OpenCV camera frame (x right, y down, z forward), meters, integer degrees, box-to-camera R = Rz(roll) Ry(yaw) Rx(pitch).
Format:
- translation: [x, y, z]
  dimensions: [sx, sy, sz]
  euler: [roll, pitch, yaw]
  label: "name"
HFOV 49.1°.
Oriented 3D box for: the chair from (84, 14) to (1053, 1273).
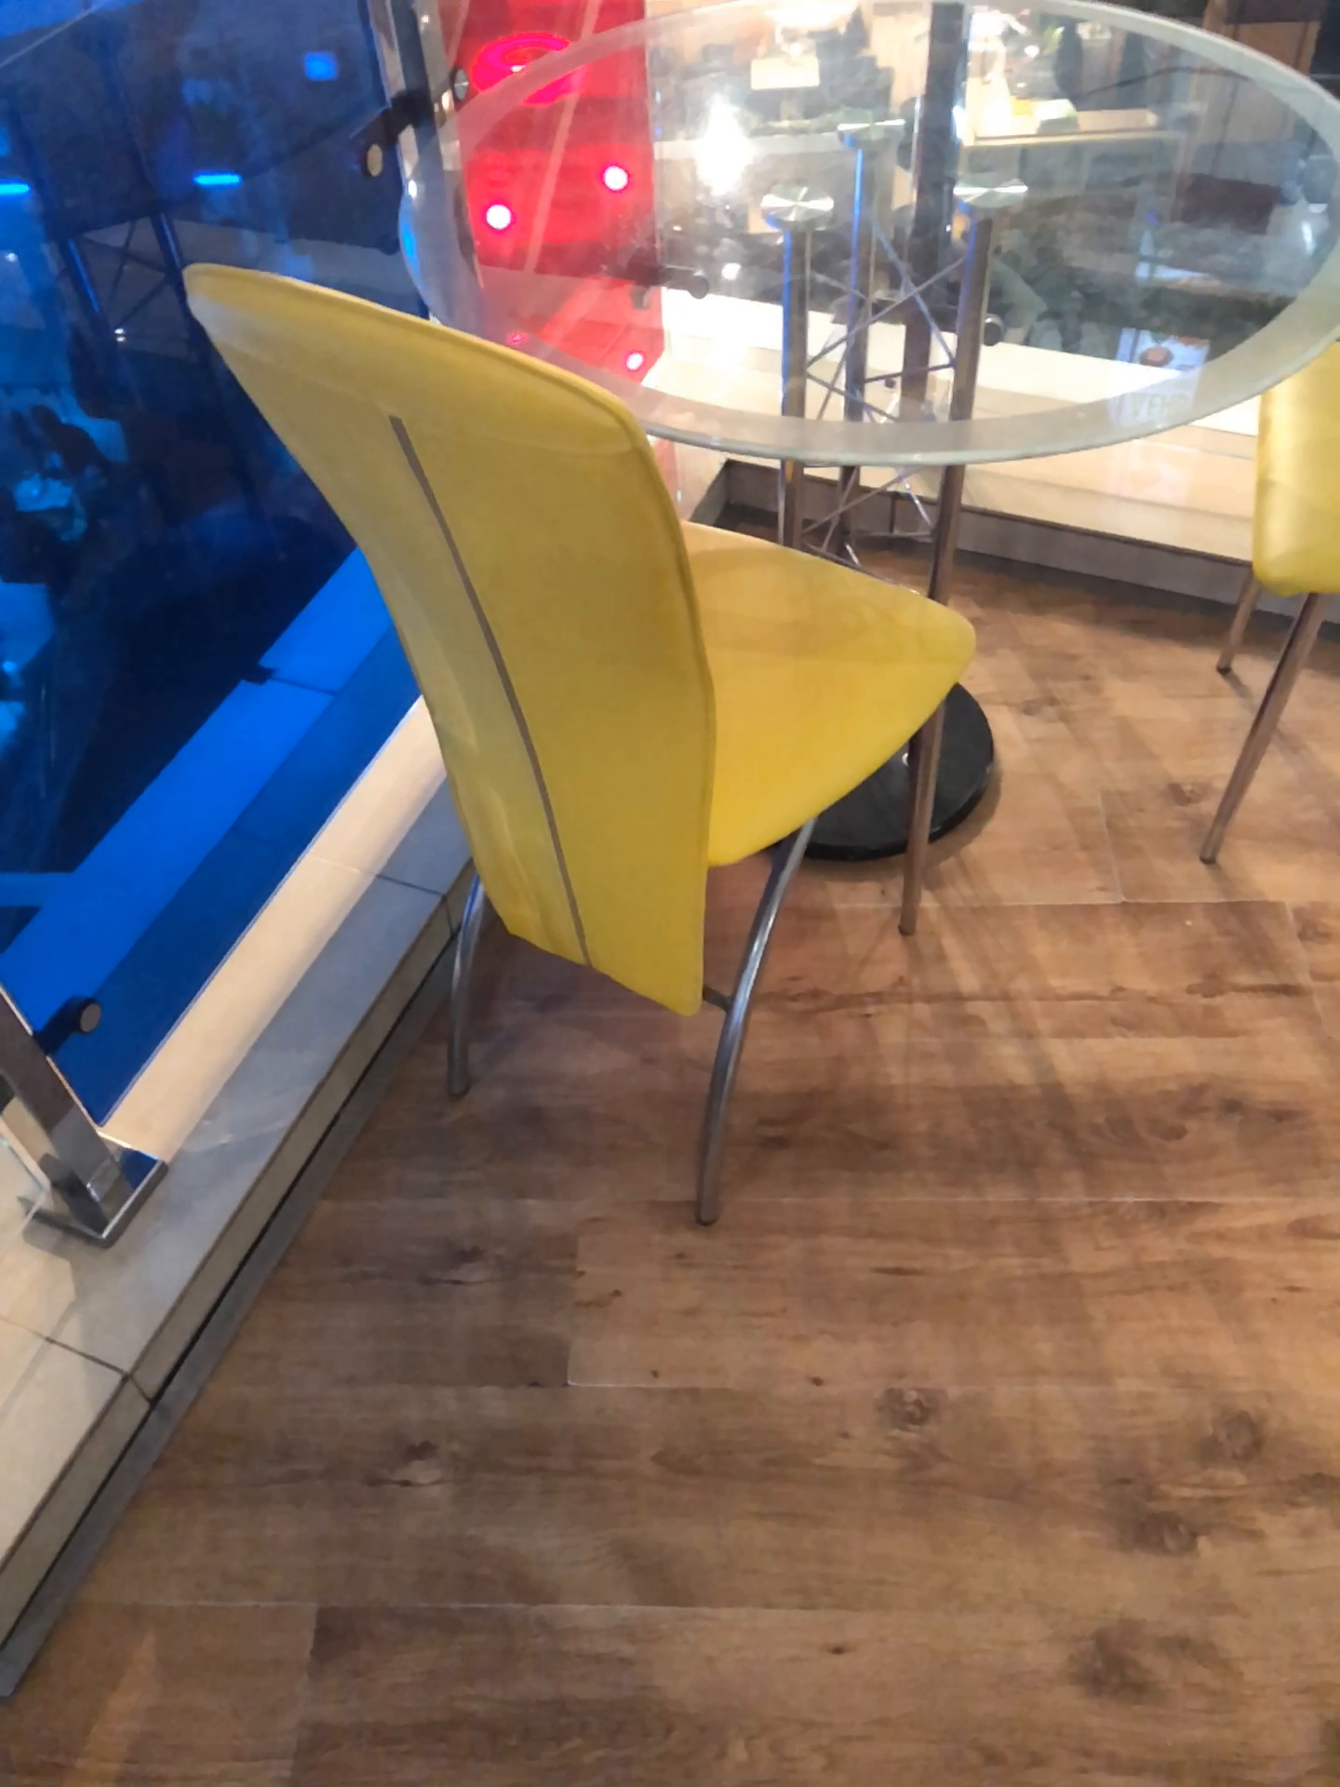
- translation: [-0.025, -0.163, 1.294]
  dimensions: [0.430, 0.897, 0.491]
  euler: [23, 55, 22]
  label: "chair"
